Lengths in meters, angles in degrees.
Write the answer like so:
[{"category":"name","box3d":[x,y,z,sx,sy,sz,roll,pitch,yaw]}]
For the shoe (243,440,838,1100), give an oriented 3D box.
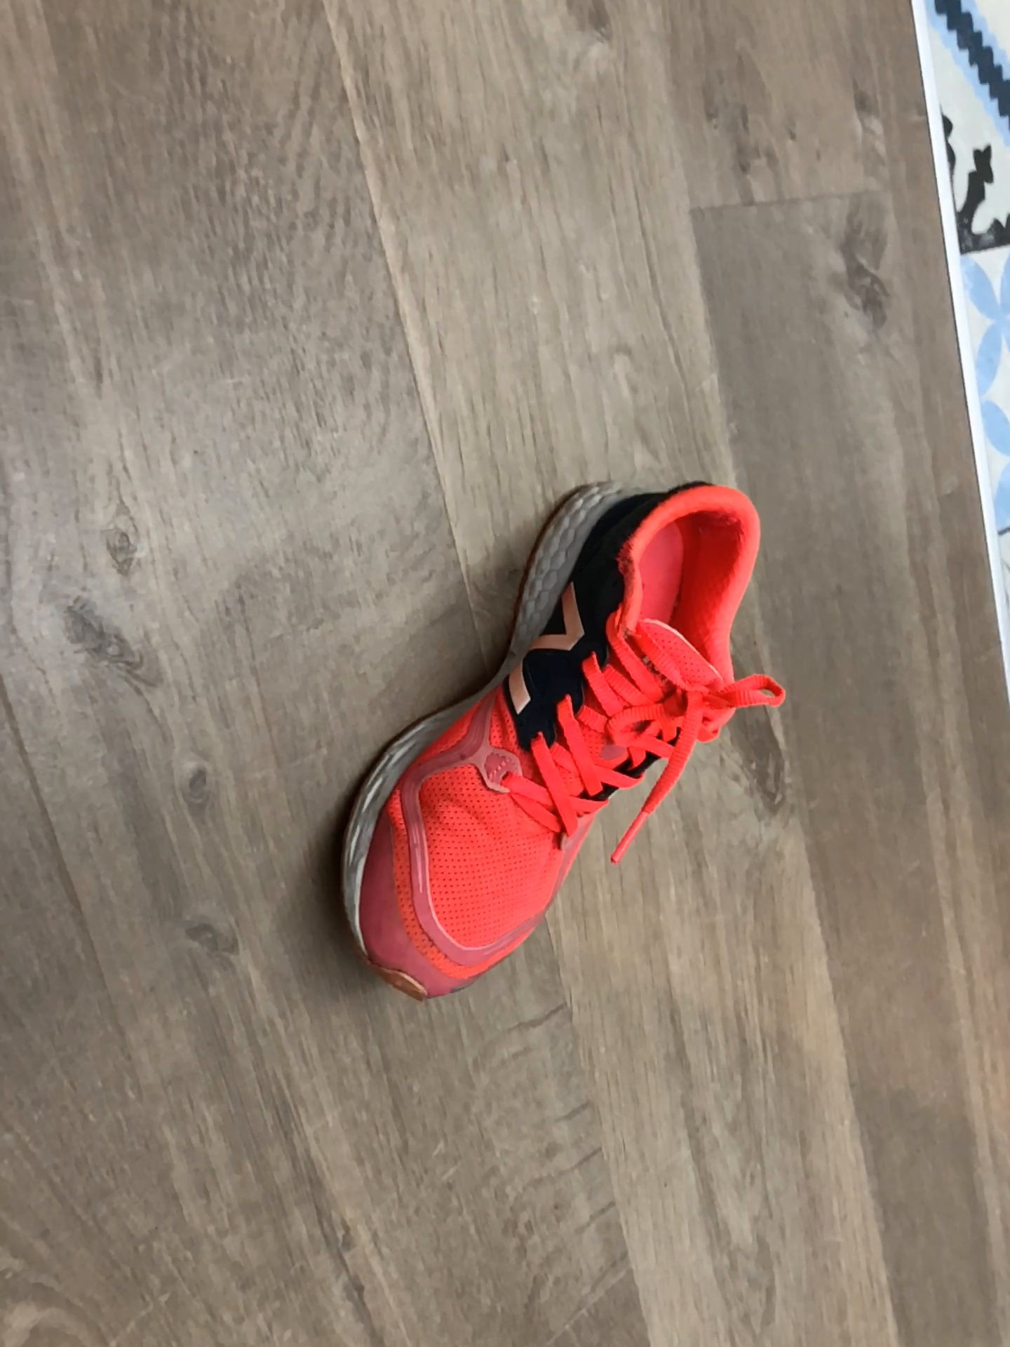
[{"category":"shoe","box3d":[0.023,0.029,0.466,0.100,0.109,0.241,48,63,-29]}]
